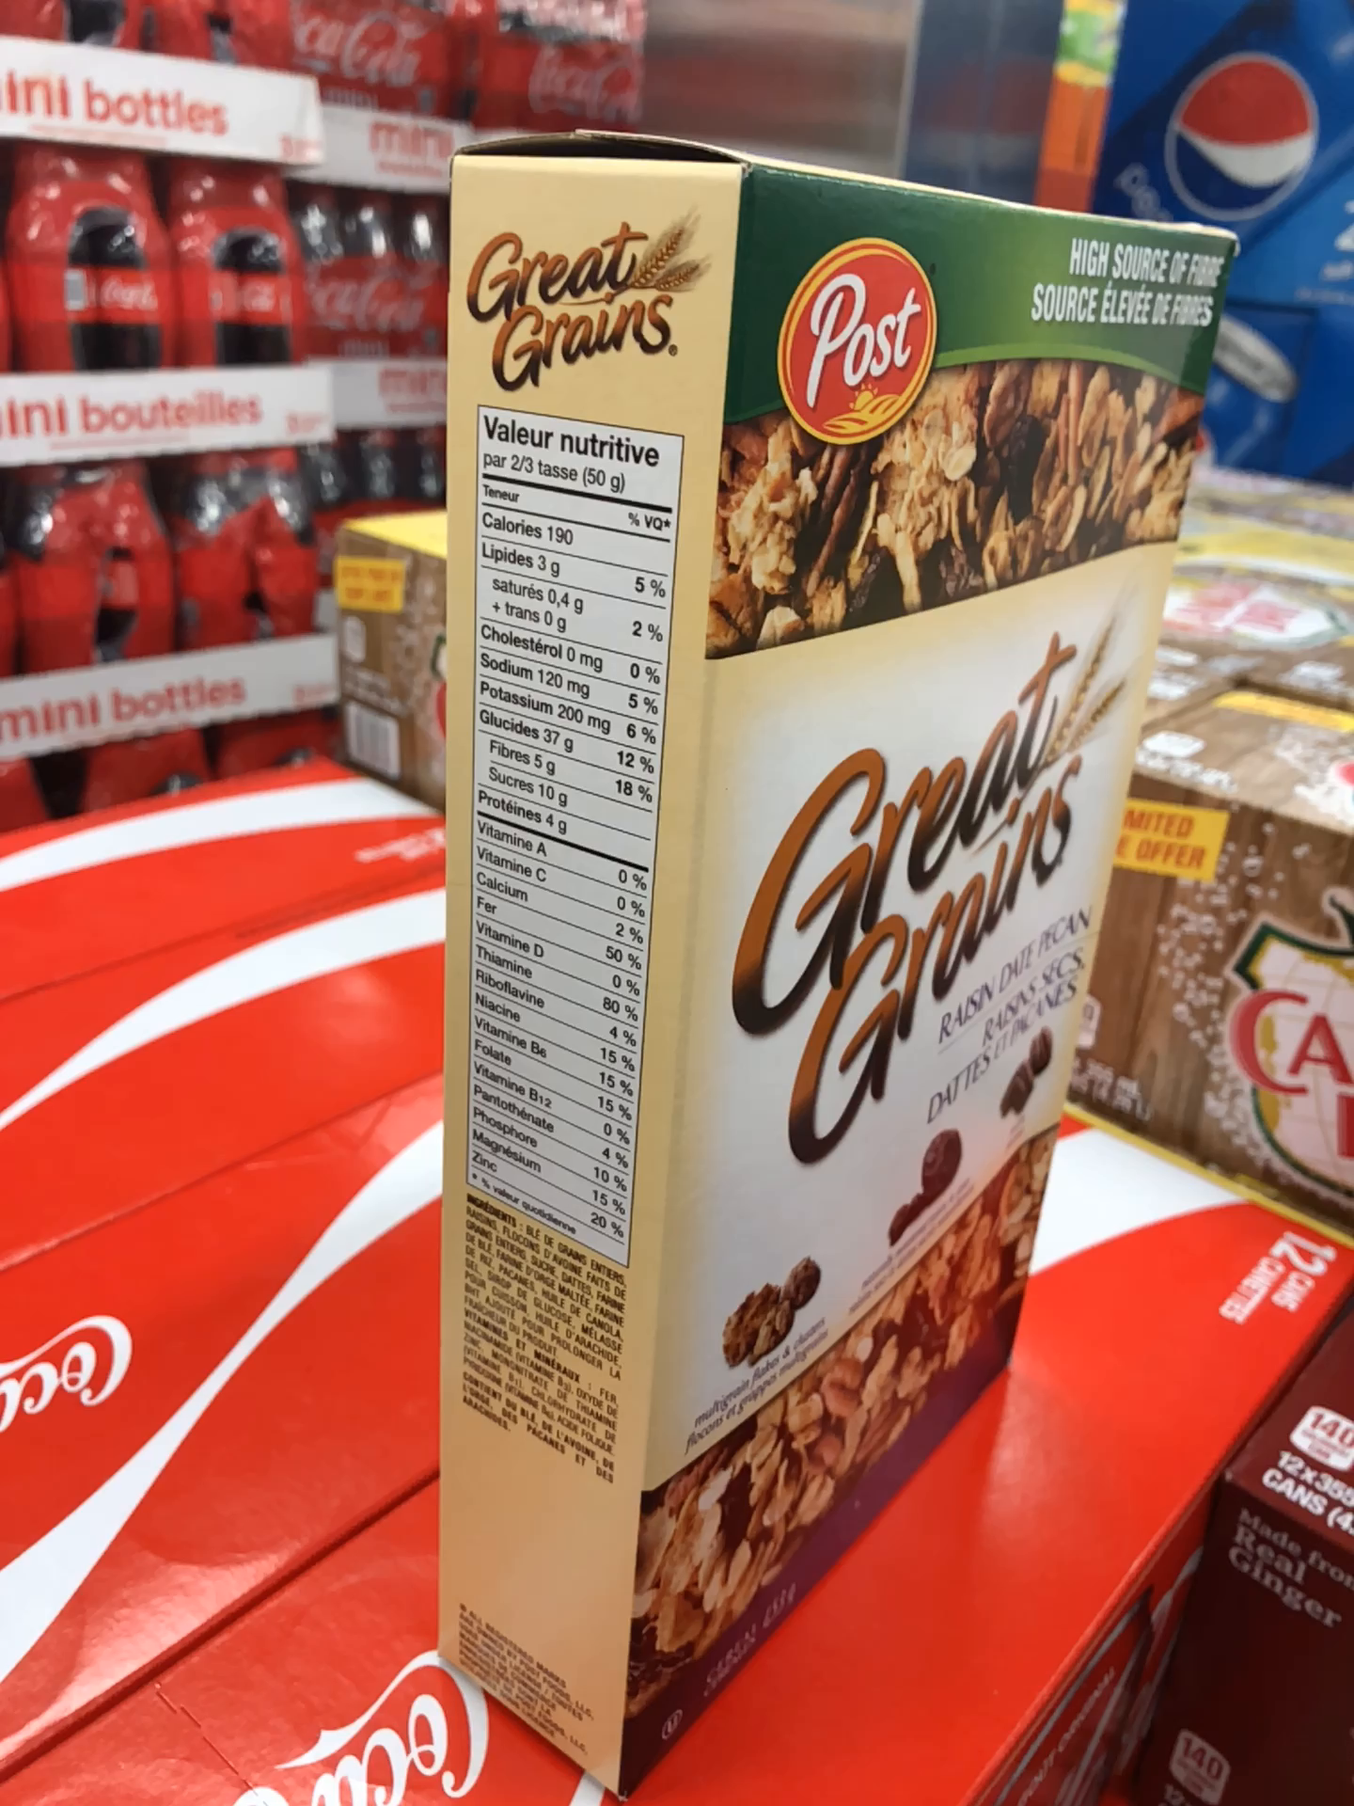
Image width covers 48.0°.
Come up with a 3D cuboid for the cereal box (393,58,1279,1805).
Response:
[{"bbox_3d":[0.029,0.006,0.284,0.050,0.269,0.170,21,28,33],"label":"cereal box"}]
